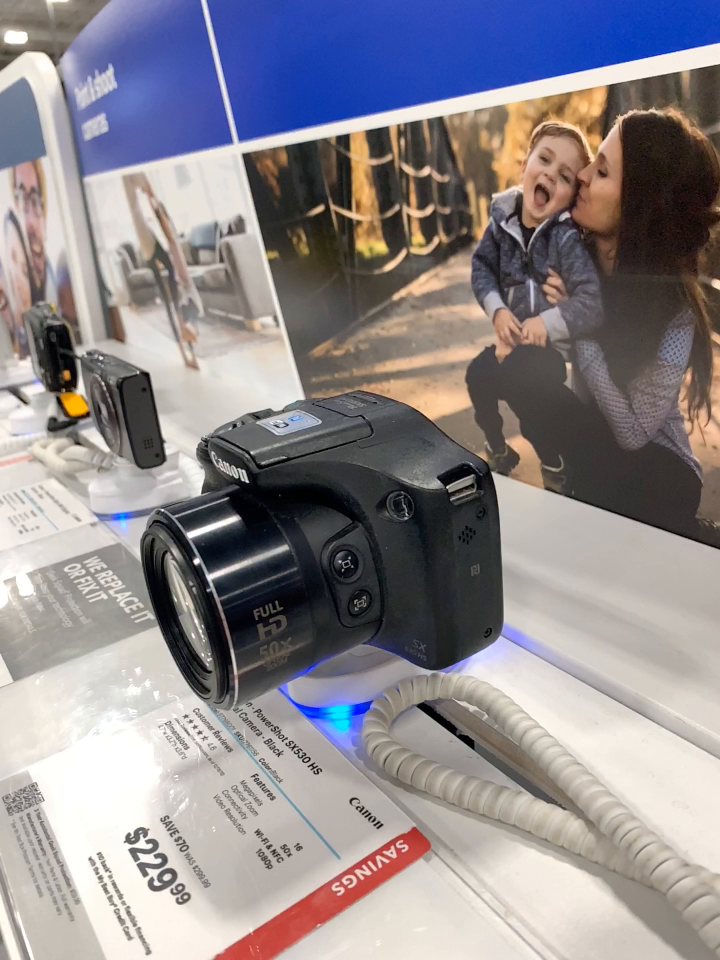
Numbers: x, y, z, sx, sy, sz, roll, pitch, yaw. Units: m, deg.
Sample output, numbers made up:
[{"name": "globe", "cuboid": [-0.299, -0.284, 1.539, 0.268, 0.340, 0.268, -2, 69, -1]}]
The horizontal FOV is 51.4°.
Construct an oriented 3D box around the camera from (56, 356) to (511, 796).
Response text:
[{"name": "camera", "cuboid": [-0.028, 0.015, 0.247, 0.090, 0.080, 0.124, -18, 26, -33]}]
